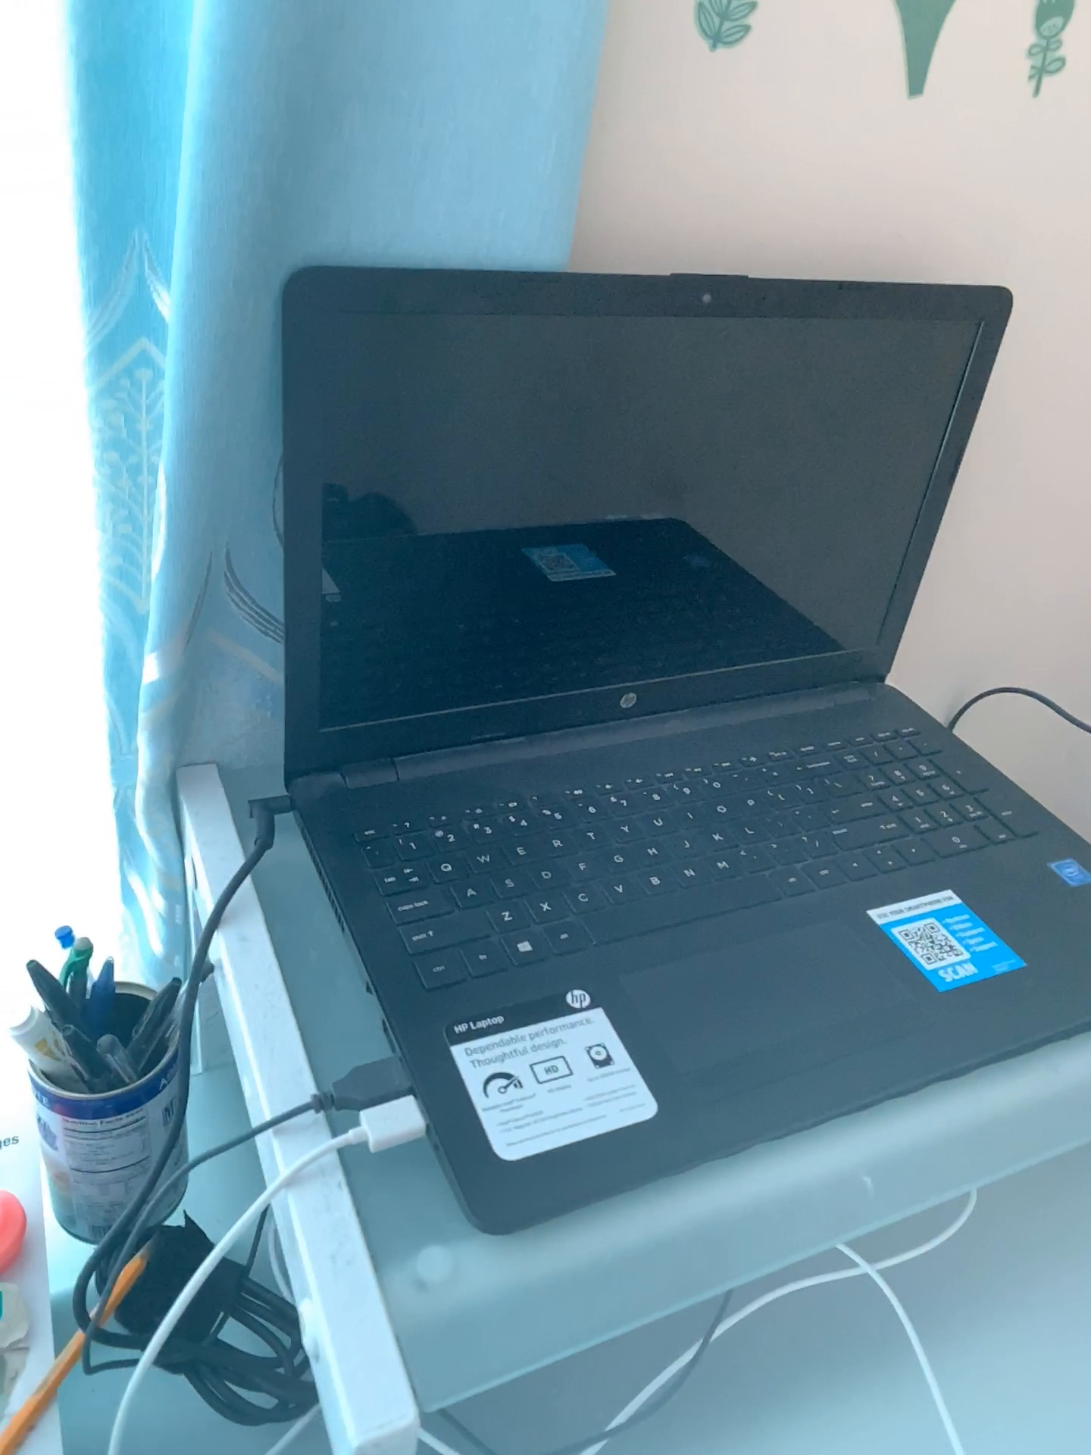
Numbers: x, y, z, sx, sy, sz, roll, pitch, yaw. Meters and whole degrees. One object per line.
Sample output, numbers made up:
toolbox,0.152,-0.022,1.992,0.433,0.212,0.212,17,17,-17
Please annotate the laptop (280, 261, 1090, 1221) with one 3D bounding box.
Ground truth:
laptop,0.105,-0.031,0.453,0.358,0.225,0.246,-9,37,-25
